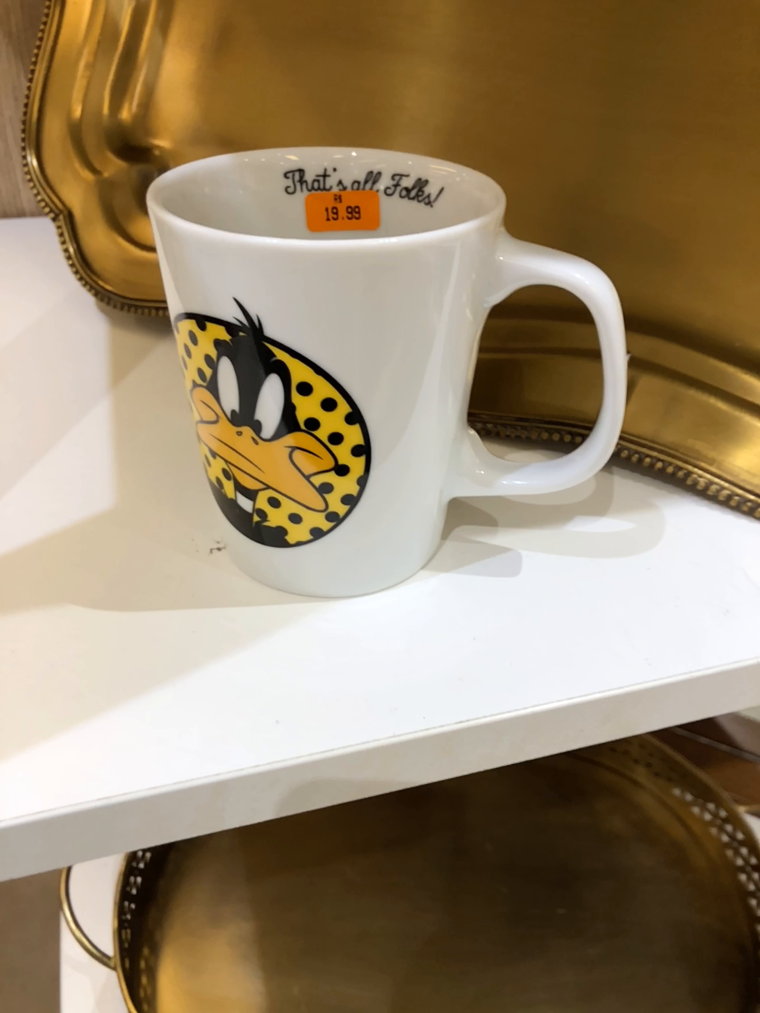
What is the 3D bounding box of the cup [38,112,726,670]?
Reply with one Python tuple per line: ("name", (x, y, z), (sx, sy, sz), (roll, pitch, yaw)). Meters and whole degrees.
("cup", (0.005, -0.034, 0.207), (0.120, 0.089, 0.091), (8, 36, 9))
